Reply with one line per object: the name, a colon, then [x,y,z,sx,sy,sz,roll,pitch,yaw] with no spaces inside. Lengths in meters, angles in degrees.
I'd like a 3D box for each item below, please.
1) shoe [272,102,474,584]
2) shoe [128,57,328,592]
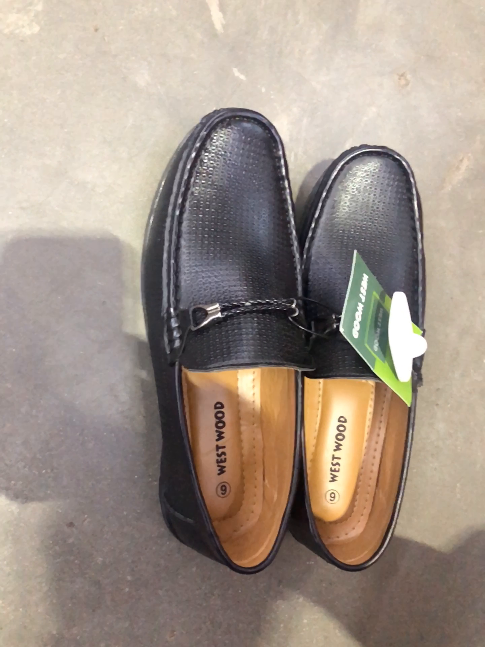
shoe: [0.080,0.014,0.352,0.090,0.070,0.280,4,91,-9]
shoe: [-0.012,0.002,0.331,0.100,0.070,0.280,1,92,-20]
